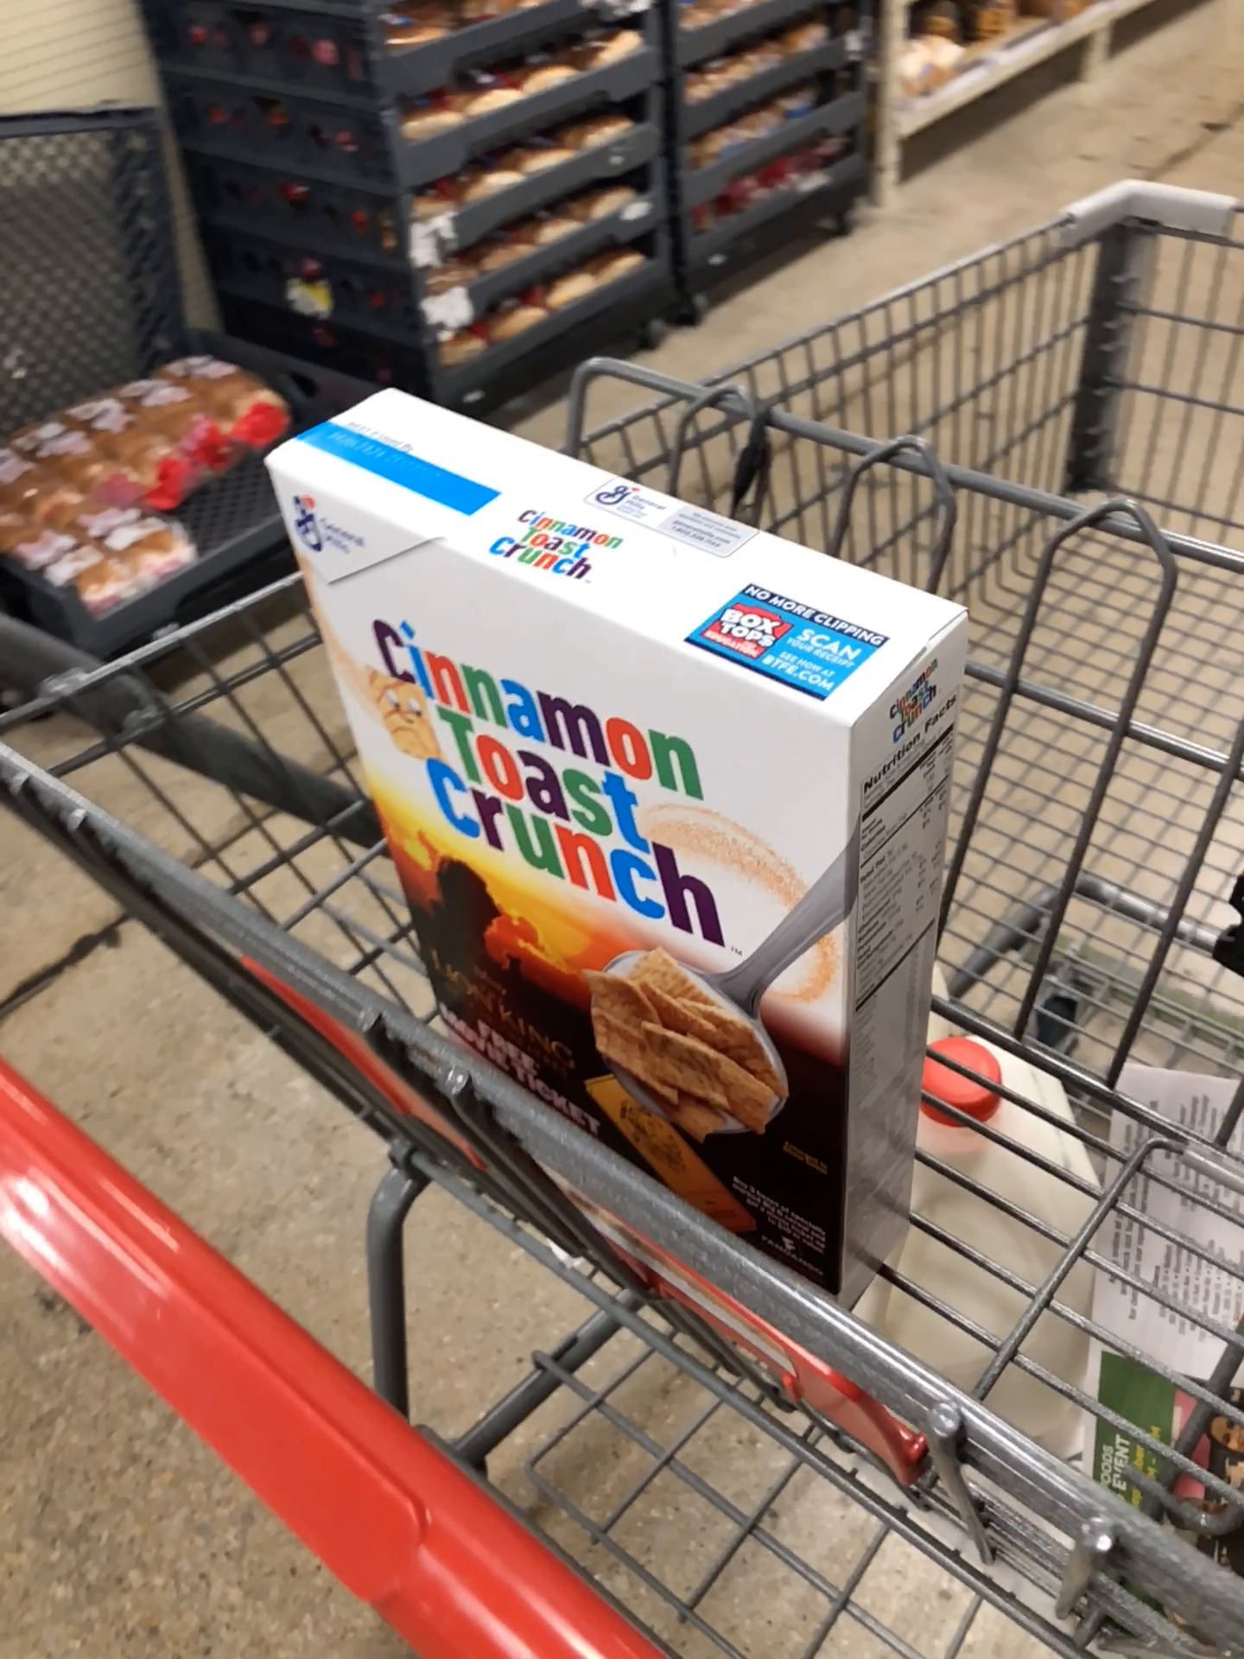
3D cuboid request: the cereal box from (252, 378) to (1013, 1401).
[{"bbox_3d":[0.009,0.034,0.446,0.210,0.309,0.050,30,57,33],"label":"cereal box"}]
